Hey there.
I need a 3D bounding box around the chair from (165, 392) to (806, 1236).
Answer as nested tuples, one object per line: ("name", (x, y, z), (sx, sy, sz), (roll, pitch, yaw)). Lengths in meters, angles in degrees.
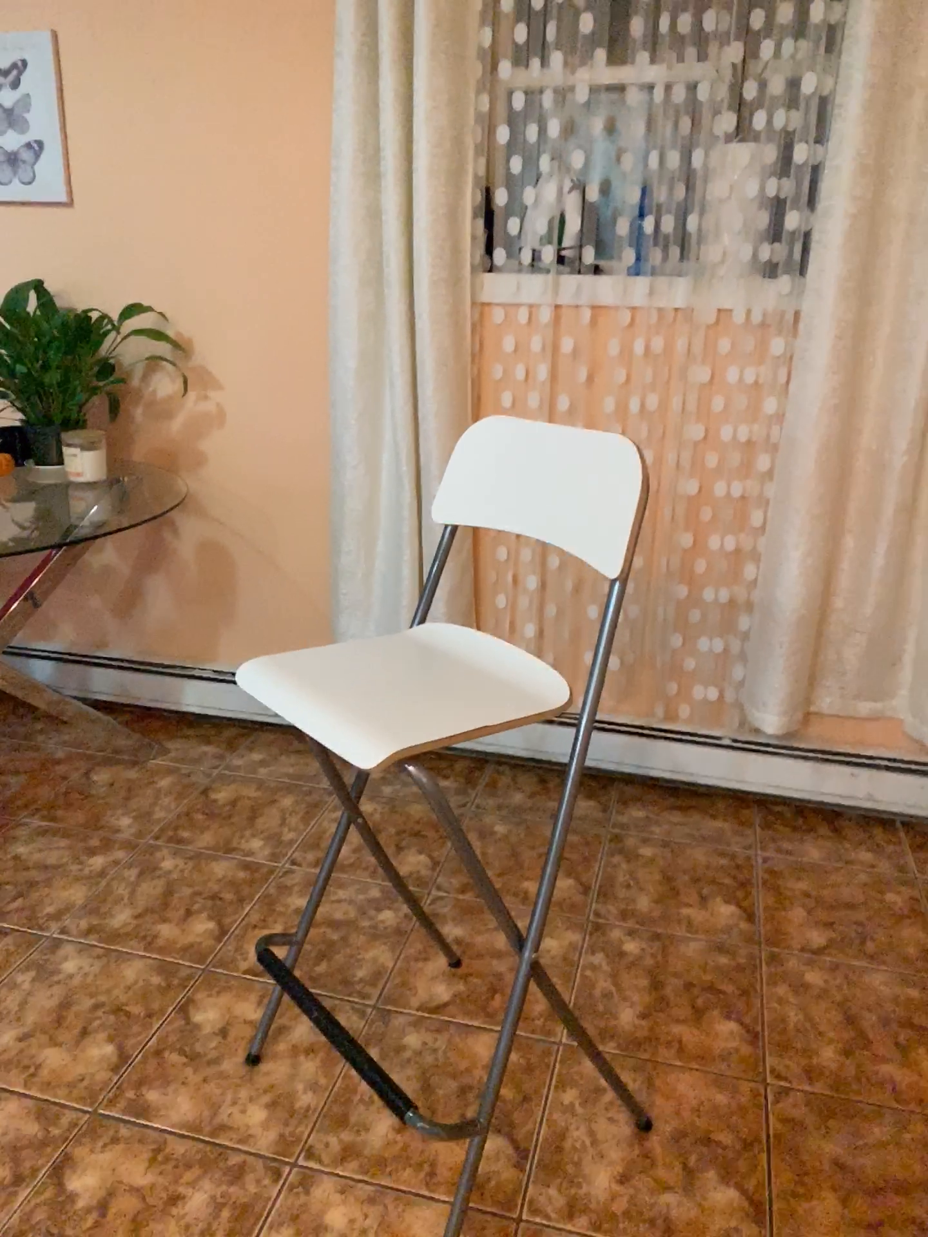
("chair", (-0.007, 0.235, 1.347), (0.543, 1.008, 0.600), (-14, 25, -40))
